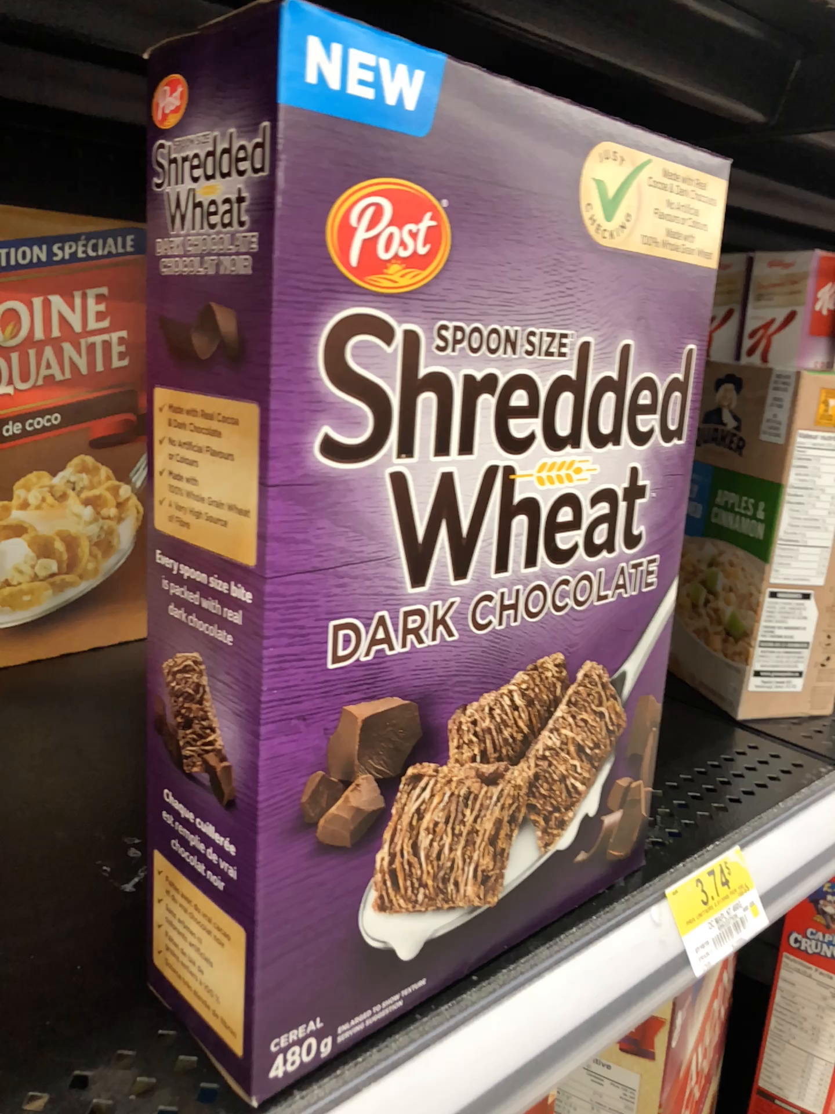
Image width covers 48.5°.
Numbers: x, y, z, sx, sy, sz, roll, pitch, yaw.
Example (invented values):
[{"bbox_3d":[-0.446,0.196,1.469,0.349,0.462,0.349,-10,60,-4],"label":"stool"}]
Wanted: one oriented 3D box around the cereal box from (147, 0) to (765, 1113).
[{"bbox_3d":[0.018,0.000,0.305,0.200,0.269,0.060,-9,18,-43],"label":"cereal box"}]
